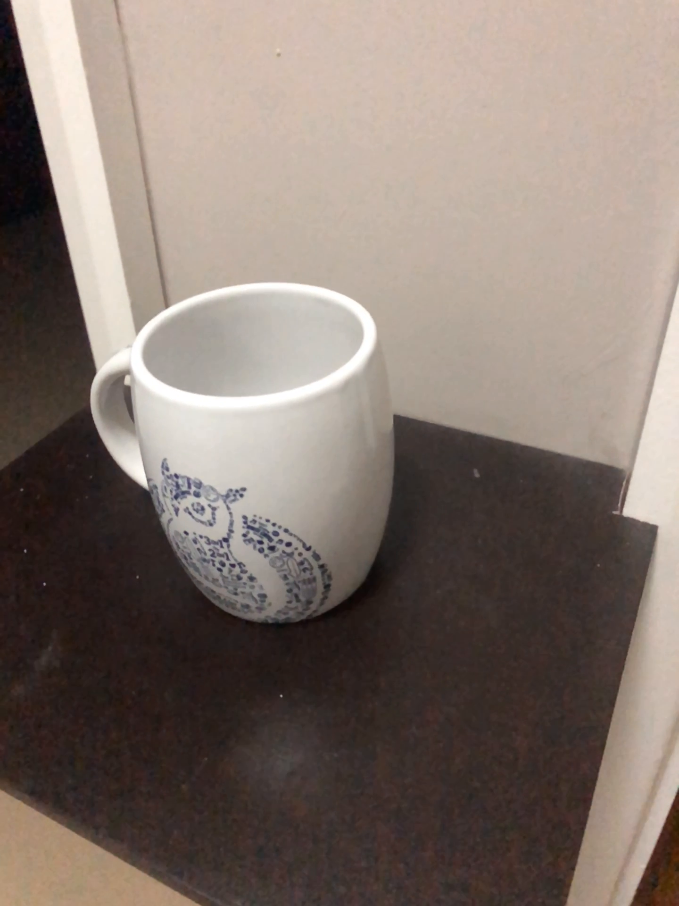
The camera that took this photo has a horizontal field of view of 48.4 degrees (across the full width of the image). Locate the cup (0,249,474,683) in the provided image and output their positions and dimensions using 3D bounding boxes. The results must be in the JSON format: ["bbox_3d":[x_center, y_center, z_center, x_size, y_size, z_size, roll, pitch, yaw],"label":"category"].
[{"bbox_3d":[-0.035,-0.007,0.265,0.130,0.079,0.101,16,39,24],"label":"cup"}]
